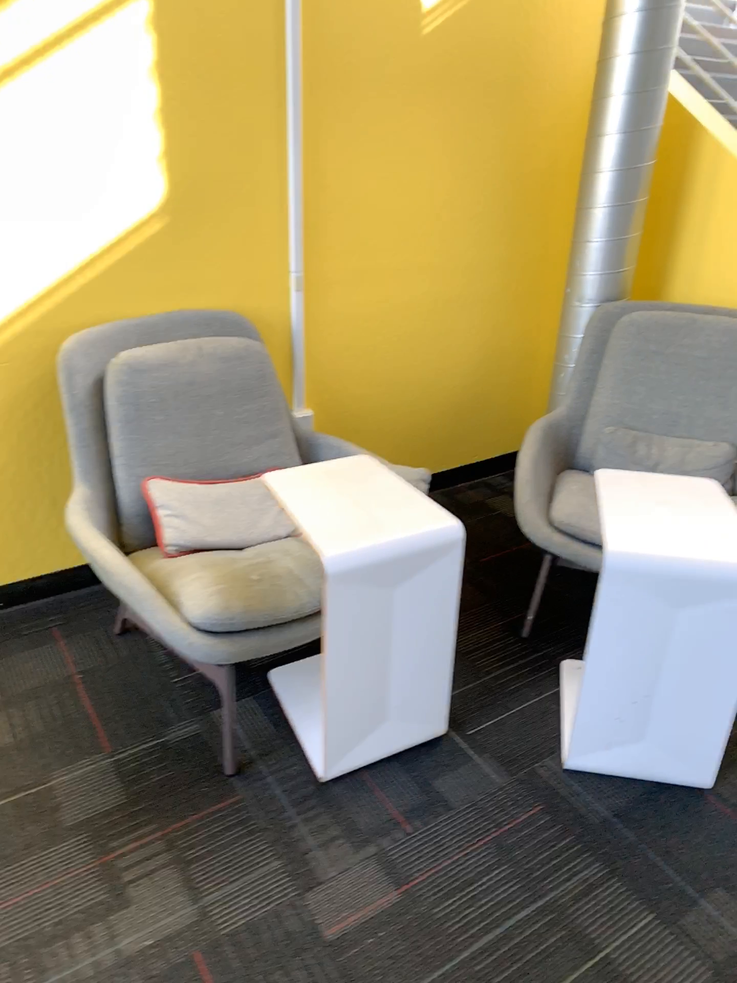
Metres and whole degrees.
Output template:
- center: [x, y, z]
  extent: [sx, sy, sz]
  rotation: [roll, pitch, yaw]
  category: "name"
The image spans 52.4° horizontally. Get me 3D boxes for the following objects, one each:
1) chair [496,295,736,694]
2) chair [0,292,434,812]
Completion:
- center: [0.975, -0.067, 2.565]
  extent: [0.891, 1.015, 0.843]
  rotation: [7, 23, 13]
  category: "chair"
- center: [-0.433, 0.037, 2.000]
  extent: [0.801, 0.926, 0.873]
  rotation: [-19, 30, -37]
  category: "chair"
